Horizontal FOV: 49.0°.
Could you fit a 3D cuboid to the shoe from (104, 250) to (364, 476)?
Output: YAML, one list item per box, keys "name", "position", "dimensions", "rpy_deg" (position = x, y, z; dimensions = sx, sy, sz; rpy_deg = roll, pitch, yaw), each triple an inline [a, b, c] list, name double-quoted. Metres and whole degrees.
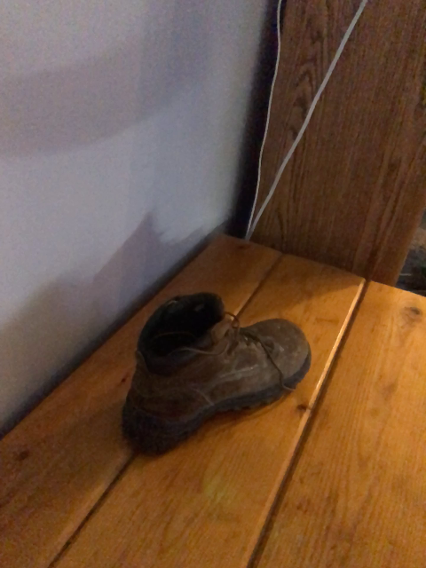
- name: "shoe"
  position: [0.029, 0.079, 0.585]
  dimensions: [0.290, 0.130, 0.130]
  rpy_deg: [-20, 43, -32]
